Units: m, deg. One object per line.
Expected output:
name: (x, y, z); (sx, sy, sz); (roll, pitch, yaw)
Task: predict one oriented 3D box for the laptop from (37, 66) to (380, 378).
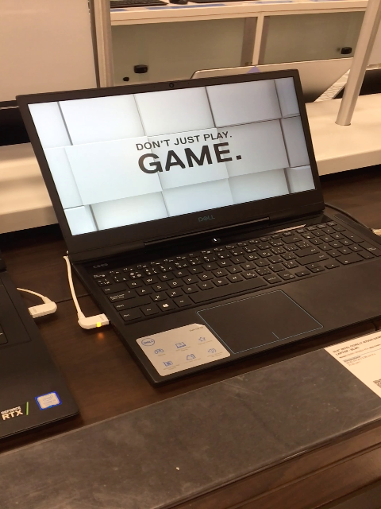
laptop: (0.064, -0.064, 0.555); (0.354, 0.175, 0.306); (-15, 41, -16)
